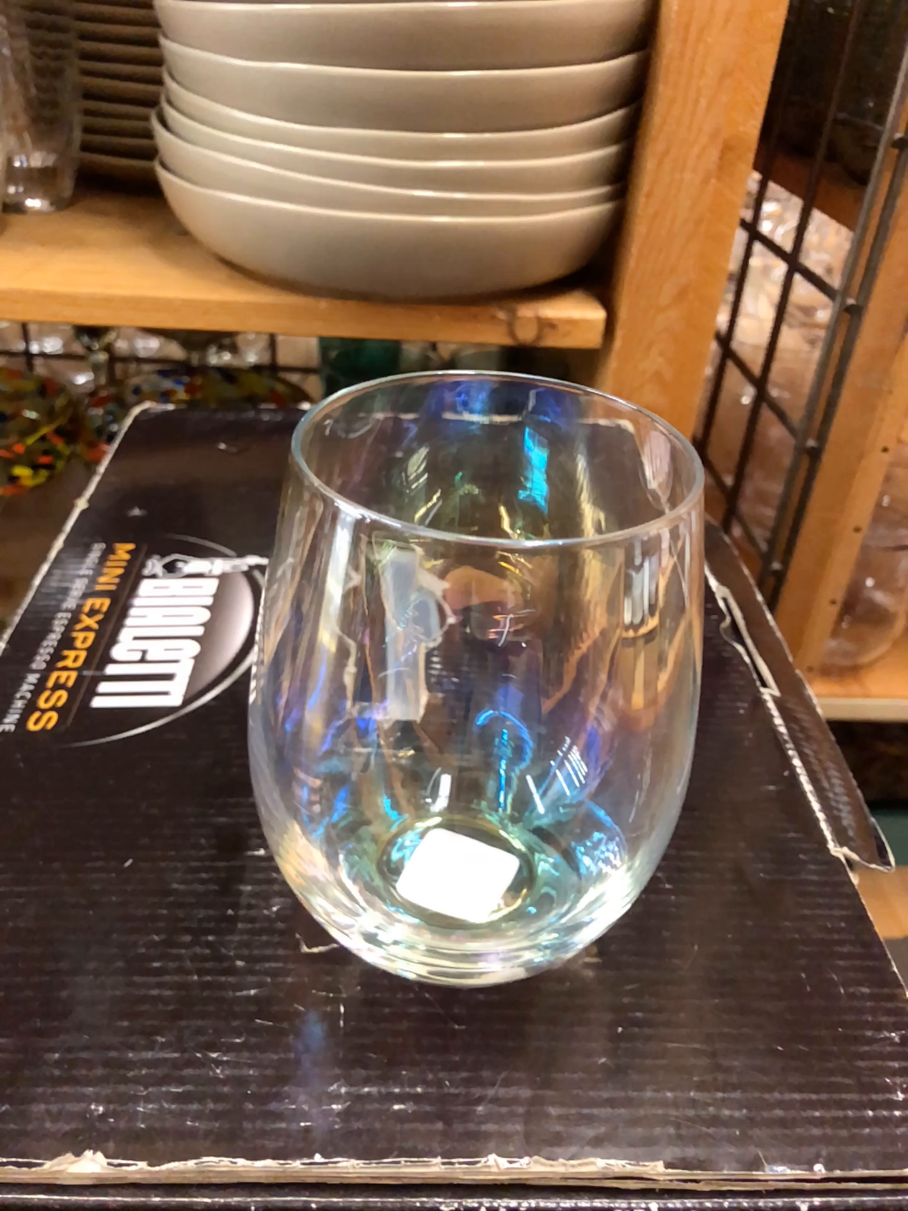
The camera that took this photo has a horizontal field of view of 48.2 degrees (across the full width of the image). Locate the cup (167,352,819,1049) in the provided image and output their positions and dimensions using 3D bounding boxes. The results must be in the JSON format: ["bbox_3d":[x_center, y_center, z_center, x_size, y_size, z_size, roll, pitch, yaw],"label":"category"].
[{"bbox_3d":[0.000,0.018,0.209,0.093,0.107,0.090,4,33,-2],"label":"cup"}]
